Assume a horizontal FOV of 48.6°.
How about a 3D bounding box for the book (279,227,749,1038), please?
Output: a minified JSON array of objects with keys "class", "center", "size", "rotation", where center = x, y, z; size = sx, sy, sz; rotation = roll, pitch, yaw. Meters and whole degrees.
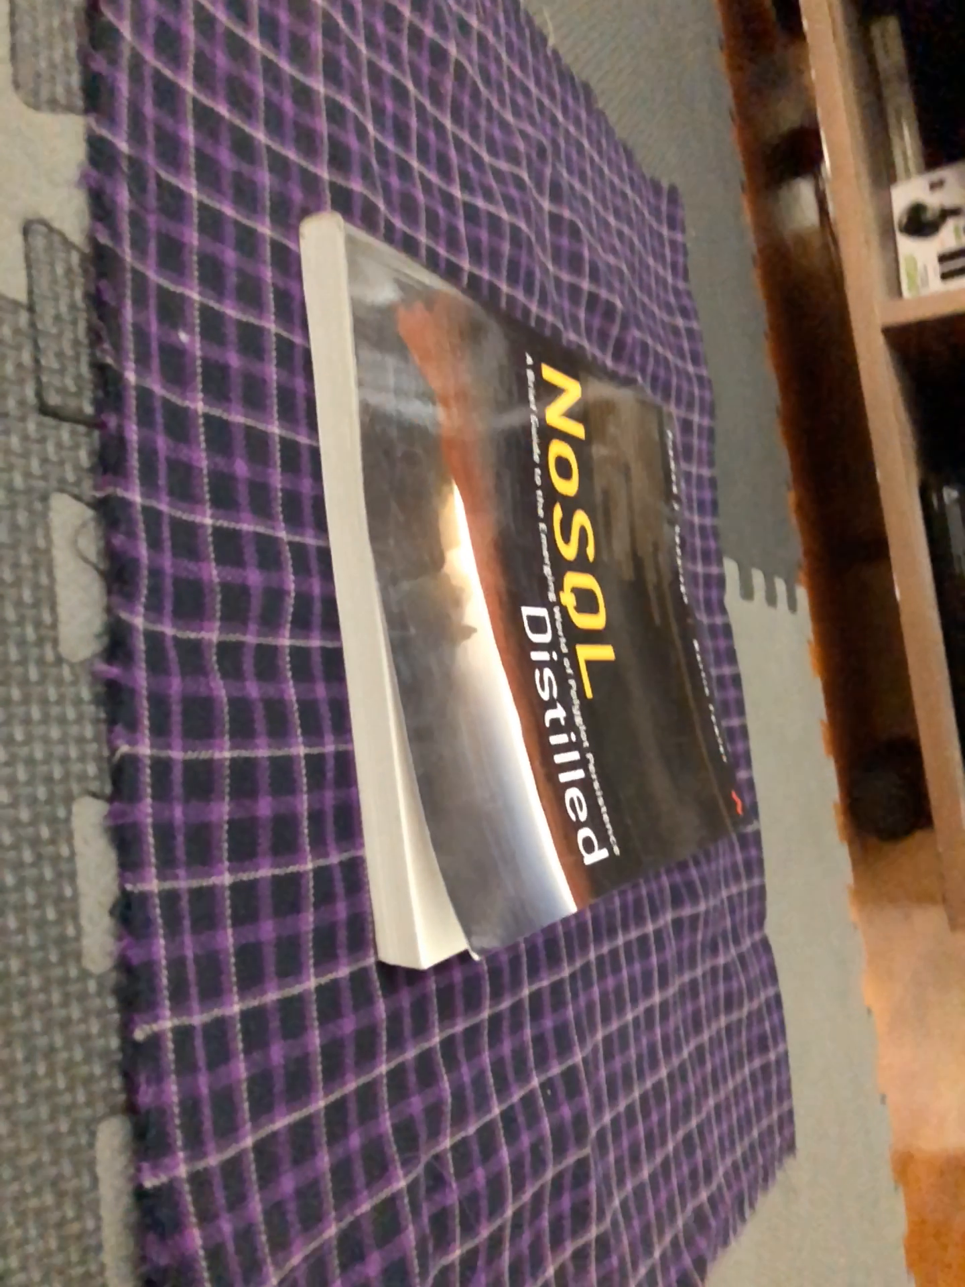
[{"class":"book","center":[0.032,-0.003,0.362],"size":[0.251,0.020,0.190],"rotation":[2,79,-61]}]
